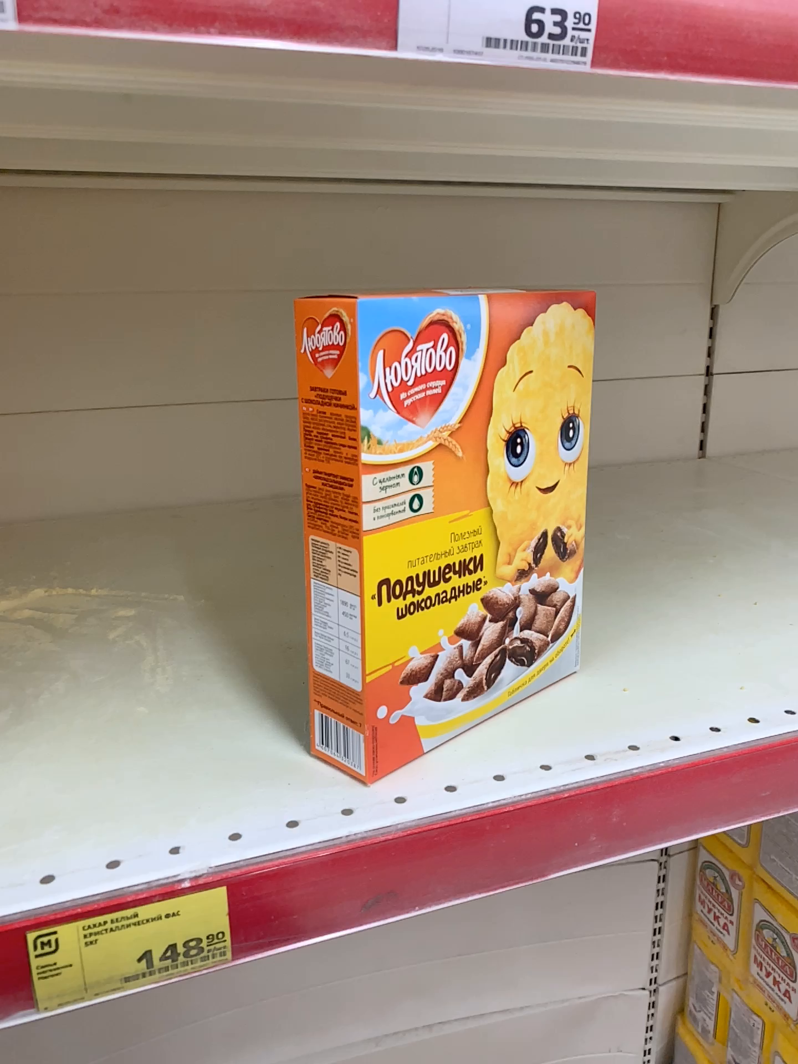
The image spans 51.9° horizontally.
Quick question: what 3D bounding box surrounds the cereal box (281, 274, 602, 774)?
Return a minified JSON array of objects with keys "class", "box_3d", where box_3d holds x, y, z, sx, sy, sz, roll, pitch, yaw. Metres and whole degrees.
[{"class":"cereal box","box_3d":[0.031,-0.018,0.439,0.181,0.229,0.050,-16,22,-42]}]
